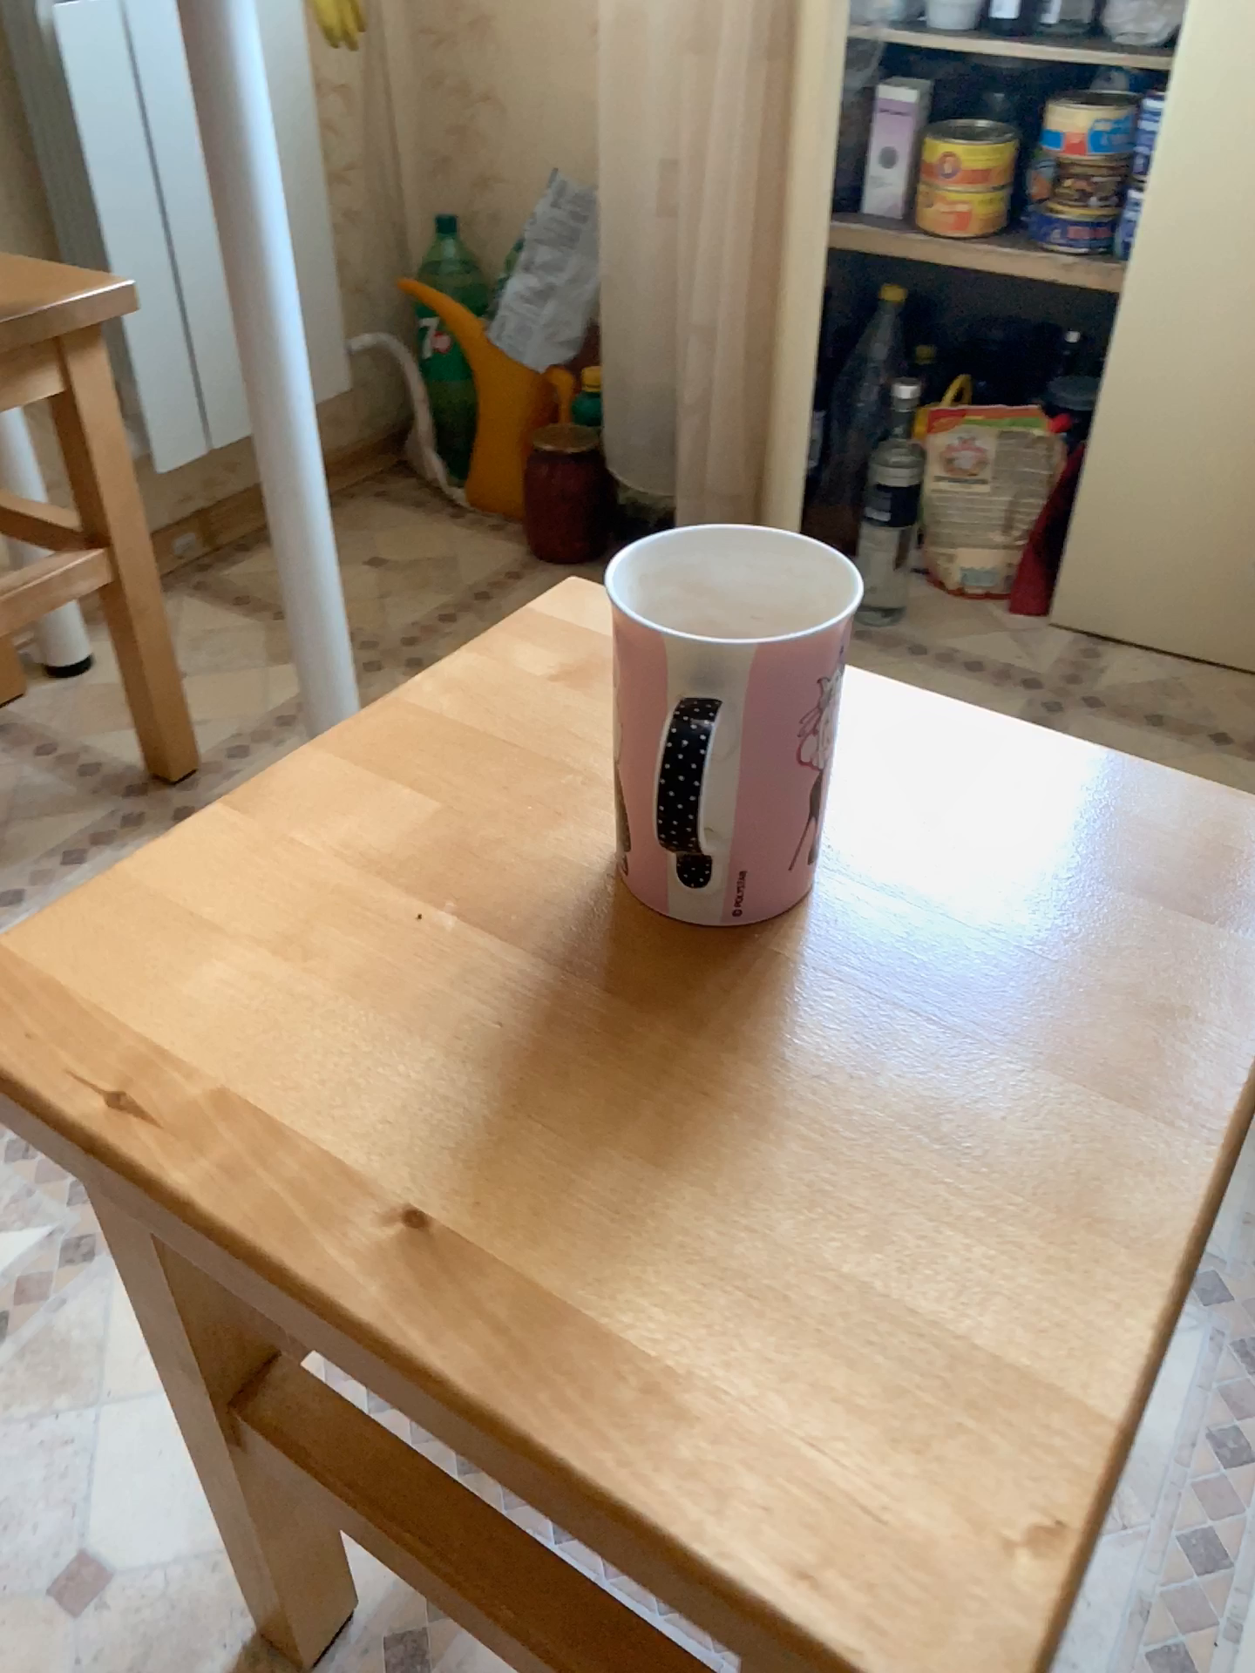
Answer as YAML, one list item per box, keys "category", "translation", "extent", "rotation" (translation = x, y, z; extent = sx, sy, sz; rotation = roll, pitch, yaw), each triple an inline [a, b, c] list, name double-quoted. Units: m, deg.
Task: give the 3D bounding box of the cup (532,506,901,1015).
- category: "cup"
  translation: [0.029, -0.028, 0.393]
  extent: [0.080, 0.099, 0.111]
  rotation: [11, 38, 13]
